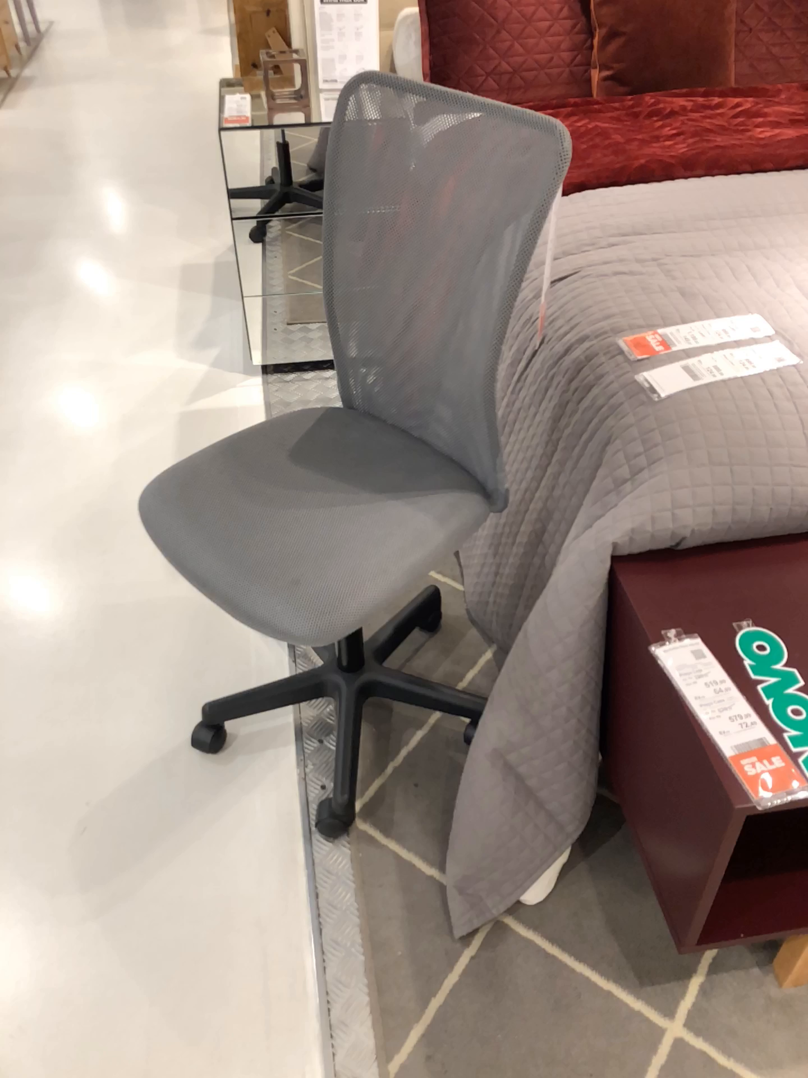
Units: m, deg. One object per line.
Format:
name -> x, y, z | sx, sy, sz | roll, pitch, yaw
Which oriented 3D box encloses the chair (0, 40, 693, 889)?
chair -> -0.095, -0.117, 1.312 | 0.642, 0.943, 0.563 | -27, 46, -27
